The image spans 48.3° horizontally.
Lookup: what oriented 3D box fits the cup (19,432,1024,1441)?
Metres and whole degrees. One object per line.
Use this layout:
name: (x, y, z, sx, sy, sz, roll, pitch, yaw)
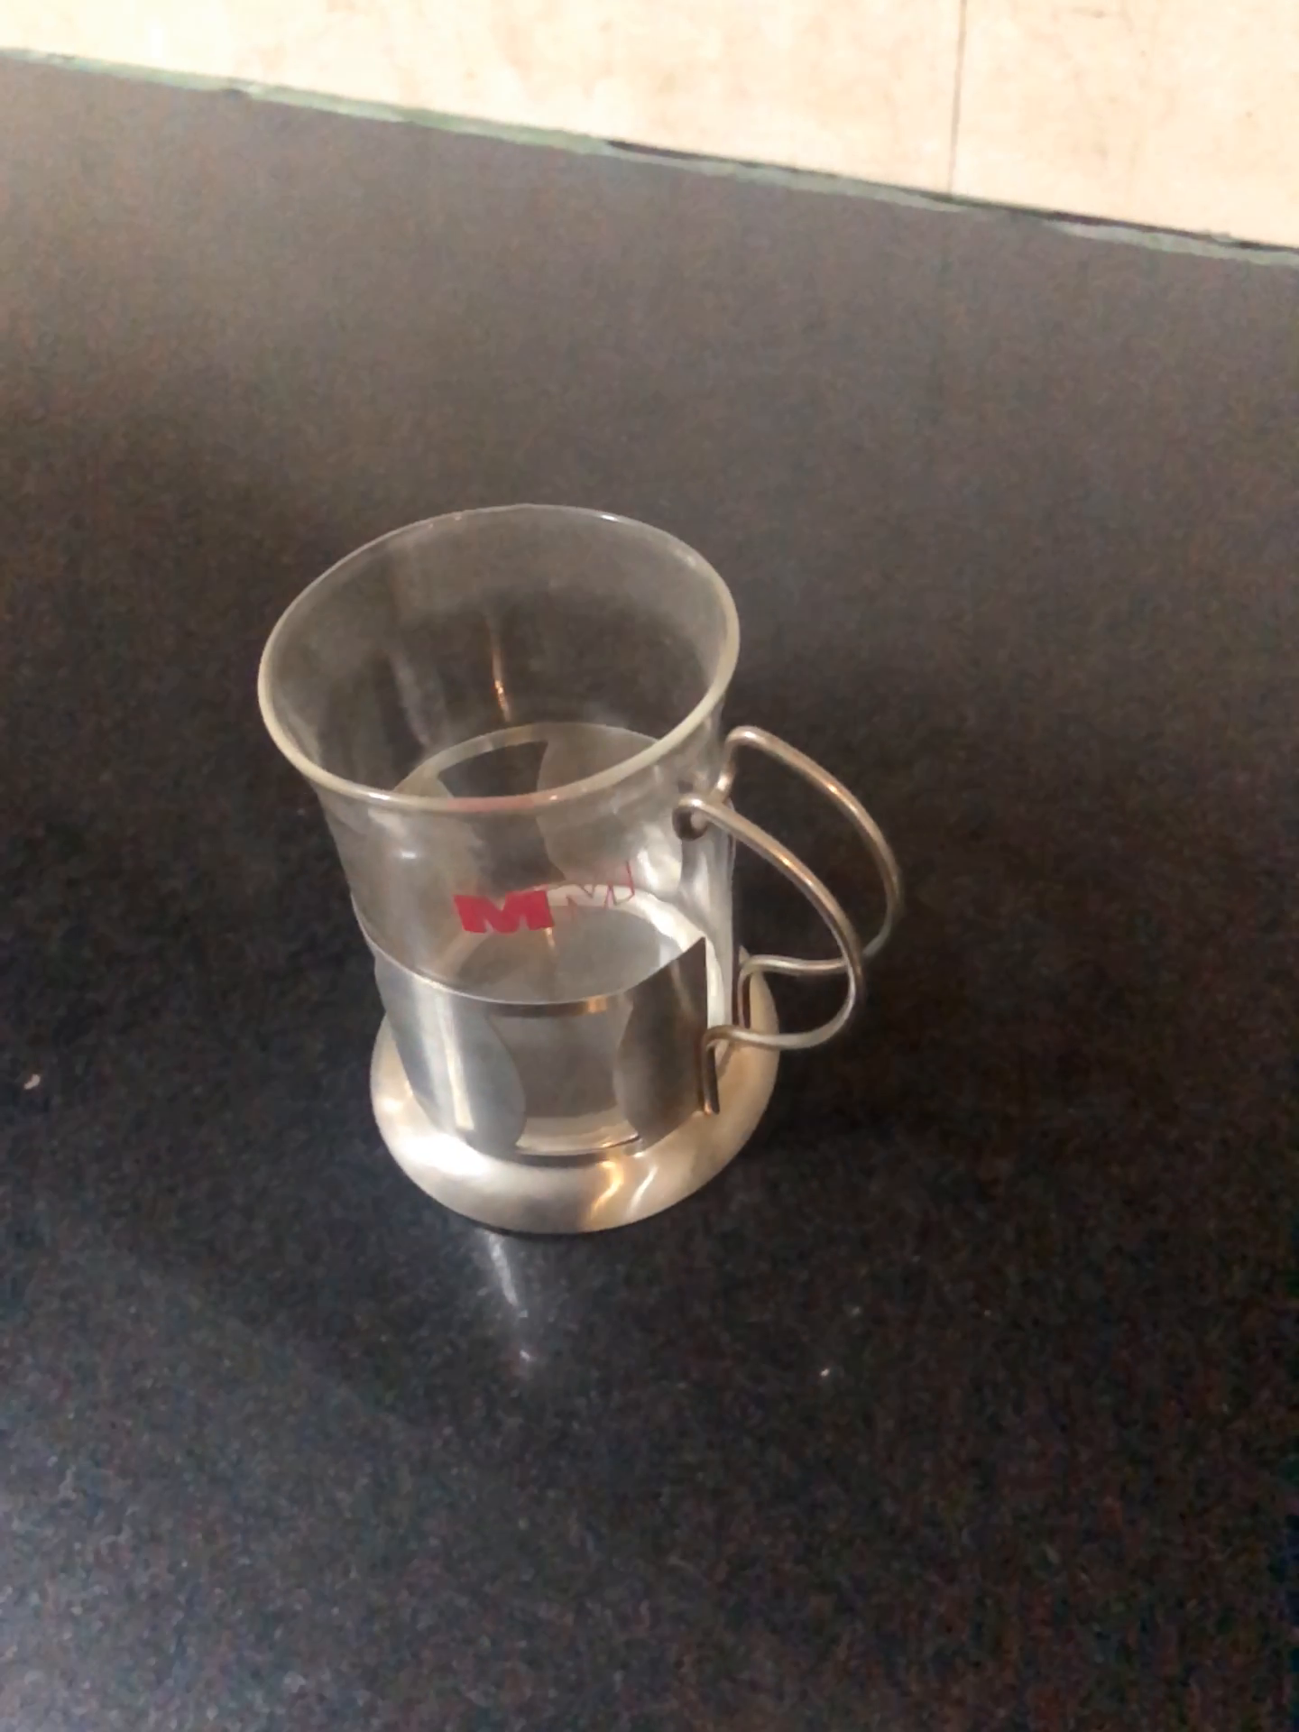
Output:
cup: (-0.013, 0.010, 0.235, 0.110, 0.109, 0.080, 21, 52, 23)
